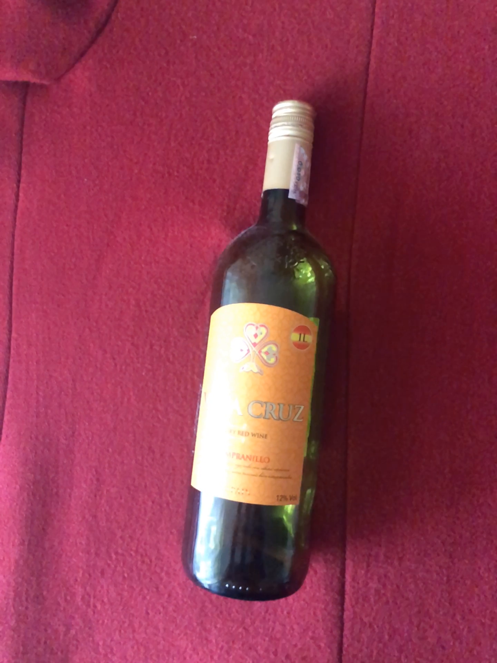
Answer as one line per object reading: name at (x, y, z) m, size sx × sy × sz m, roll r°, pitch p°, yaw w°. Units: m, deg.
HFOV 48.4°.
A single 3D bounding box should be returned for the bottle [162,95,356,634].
bottle at (0.013, 0.013, 0.349) m, size 0.080 × 0.070 × 0.300 m, roll 6°, pitch 87°, yaw 12°
